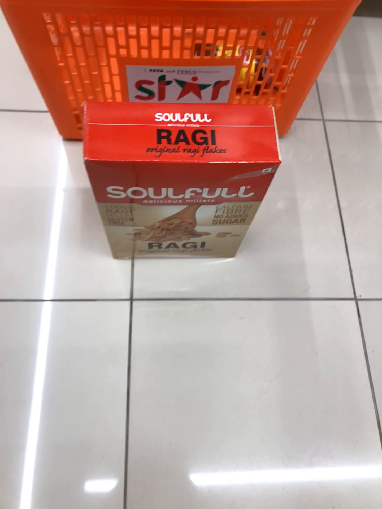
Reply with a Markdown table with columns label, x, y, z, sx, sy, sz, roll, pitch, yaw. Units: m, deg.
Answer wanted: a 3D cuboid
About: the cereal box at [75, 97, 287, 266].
| label | x | y | z | sx | sy | sz | roll | pitch | yaw |
| --- | --- | --- | --- | --- | --- | --- | --- | --- | --- |
| cereal box | -0.016 | -0.060 | 0.462 | 0.170 | 0.239 | 0.060 | -1 | 67 | -5 |
